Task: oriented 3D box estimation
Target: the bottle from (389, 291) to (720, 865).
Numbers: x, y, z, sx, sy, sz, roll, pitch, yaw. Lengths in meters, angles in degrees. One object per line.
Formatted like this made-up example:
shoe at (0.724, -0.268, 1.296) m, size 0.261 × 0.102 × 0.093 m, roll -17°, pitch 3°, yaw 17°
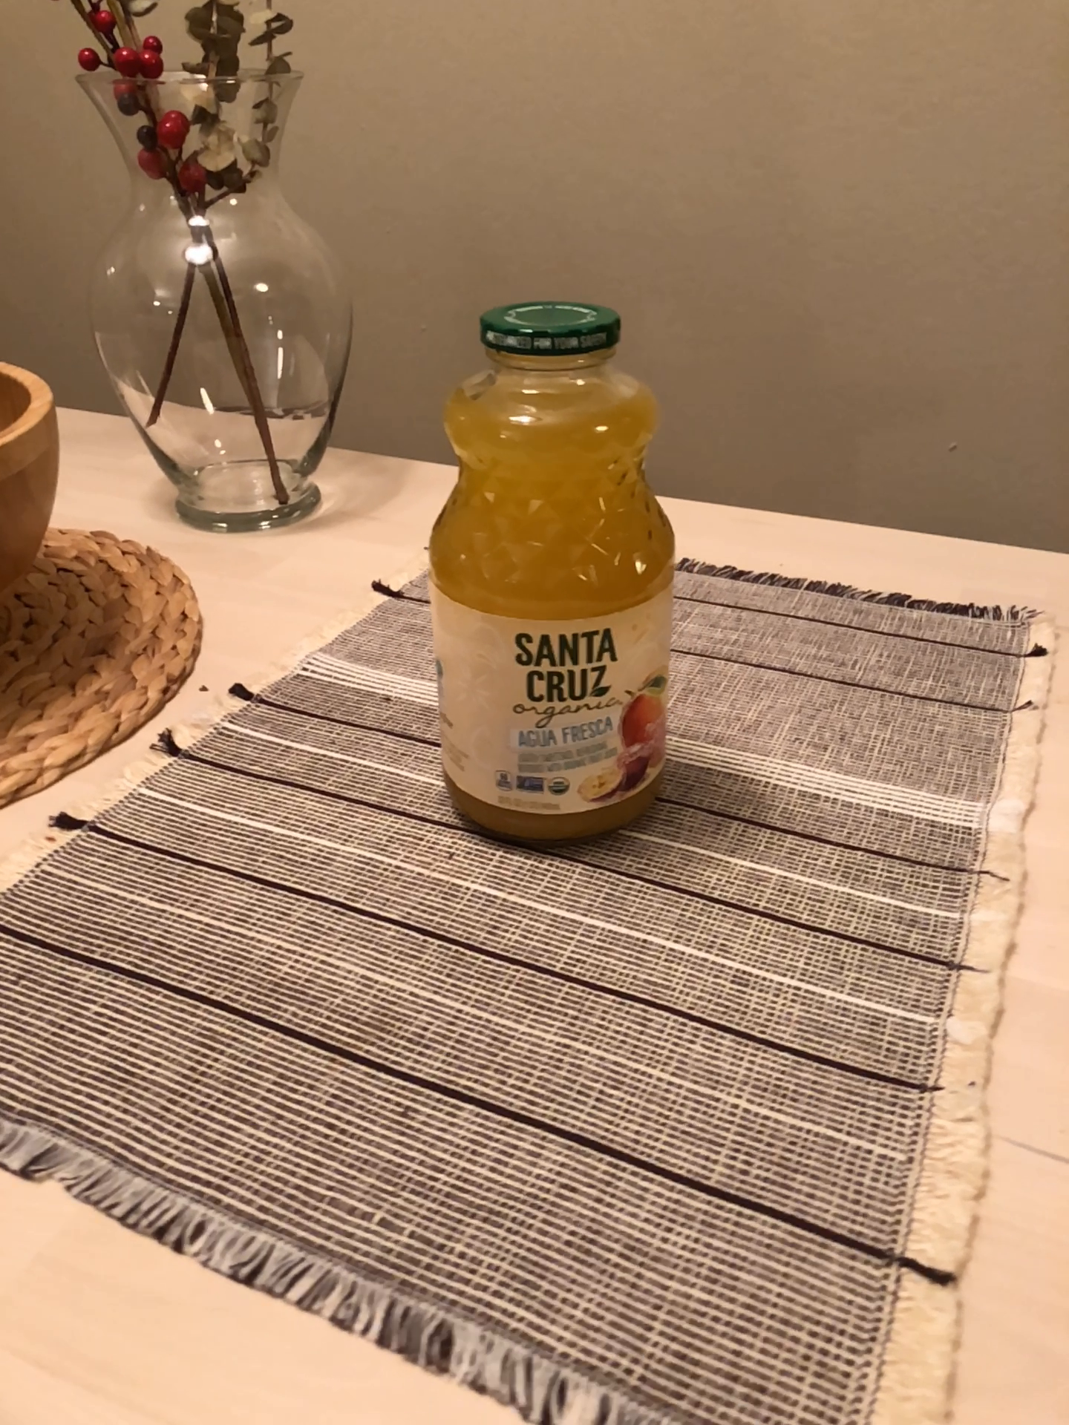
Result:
bottle at (0.003, -0.053, 0.454) m, size 0.100 × 0.189 × 0.101 m, roll -1°, pitch 29°, yaw 0°
